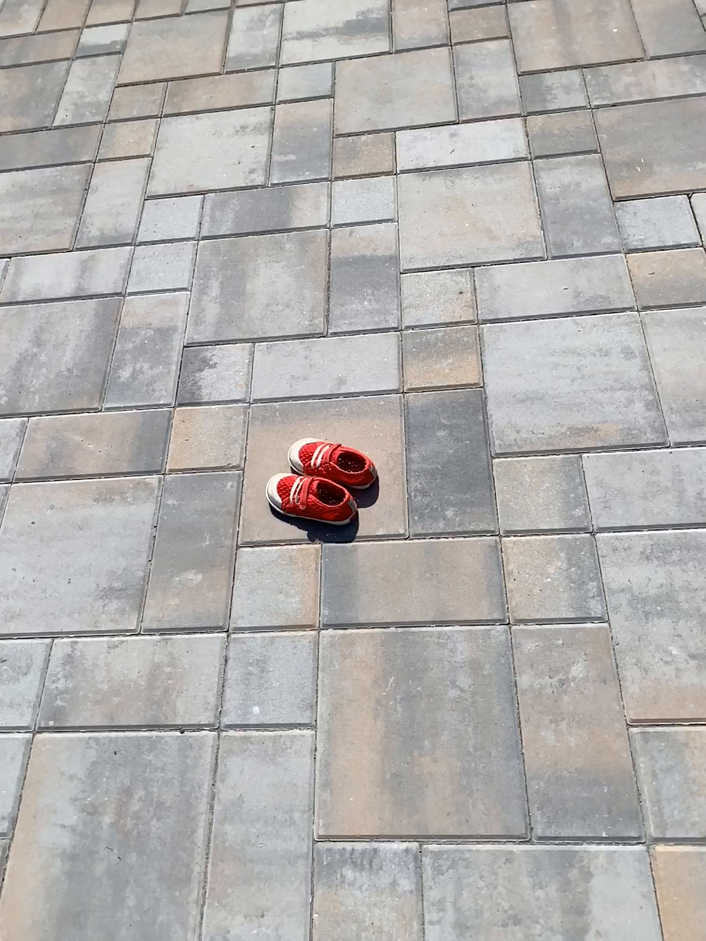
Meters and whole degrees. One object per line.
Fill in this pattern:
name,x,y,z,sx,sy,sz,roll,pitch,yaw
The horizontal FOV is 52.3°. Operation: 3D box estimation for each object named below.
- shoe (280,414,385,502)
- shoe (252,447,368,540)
shoe,-0.034,-0.022,1.282,0.160,0.100,0.070,19,66,17
shoe,-0.072,0.041,1.268,0.170,0.100,0.090,14,64,15
